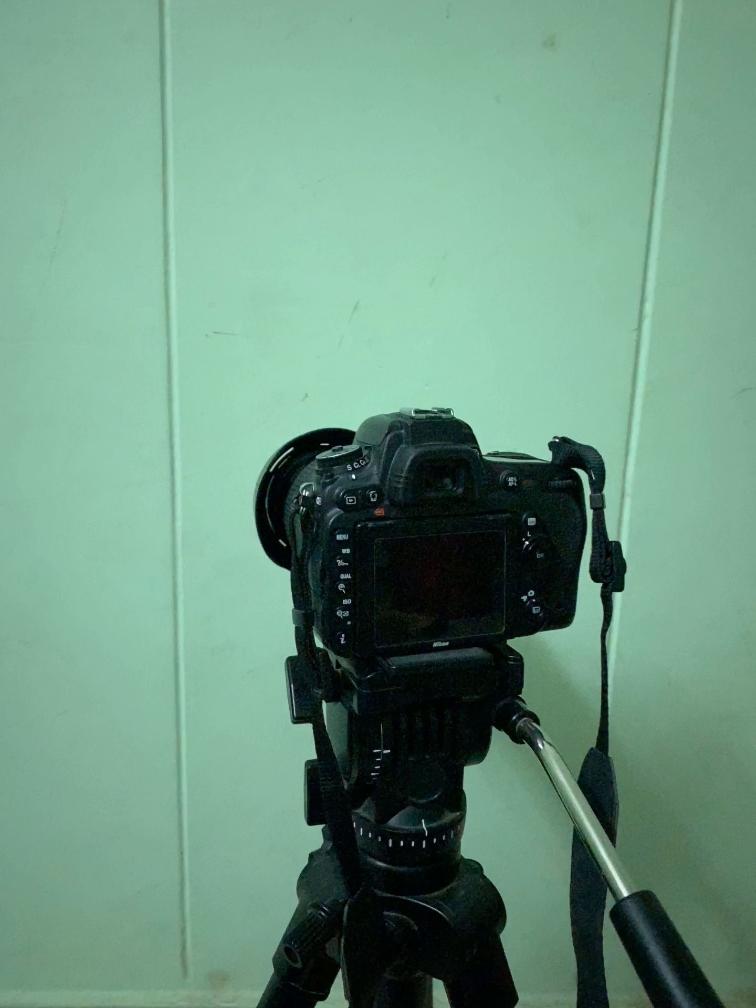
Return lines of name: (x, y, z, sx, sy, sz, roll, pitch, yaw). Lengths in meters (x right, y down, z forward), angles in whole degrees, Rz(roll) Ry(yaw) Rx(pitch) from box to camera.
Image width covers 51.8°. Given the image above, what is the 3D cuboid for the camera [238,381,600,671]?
camera: (0.007, -0.005, 0.444, 0.140, 0.117, 0.182, -3, 13, -20)
